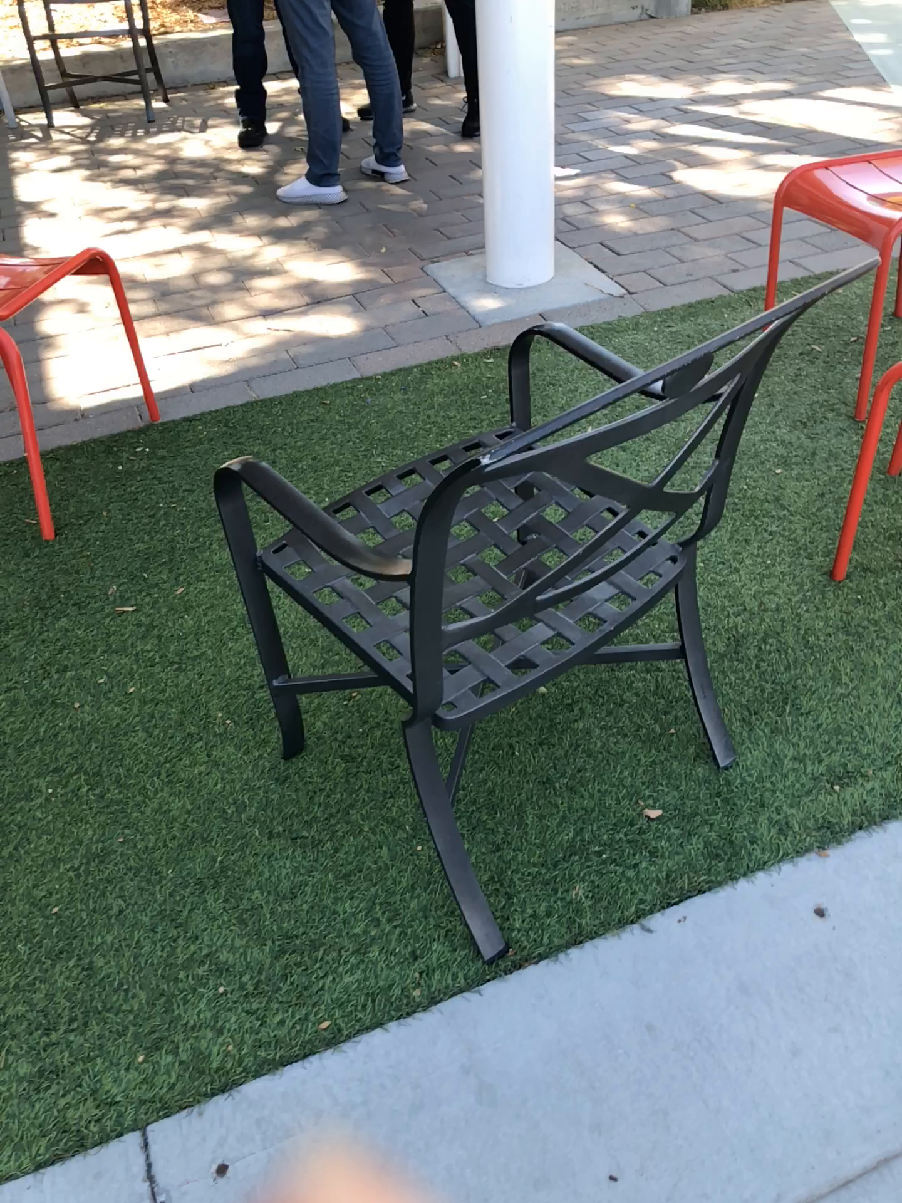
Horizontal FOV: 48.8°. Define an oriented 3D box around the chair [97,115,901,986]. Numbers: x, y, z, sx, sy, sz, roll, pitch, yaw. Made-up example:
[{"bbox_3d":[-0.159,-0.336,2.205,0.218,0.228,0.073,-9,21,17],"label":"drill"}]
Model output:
[{"bbox_3d":[0.056,-0.107,1.364,0.641,0.806,0.643,-30,47,-29],"label":"chair"}]
